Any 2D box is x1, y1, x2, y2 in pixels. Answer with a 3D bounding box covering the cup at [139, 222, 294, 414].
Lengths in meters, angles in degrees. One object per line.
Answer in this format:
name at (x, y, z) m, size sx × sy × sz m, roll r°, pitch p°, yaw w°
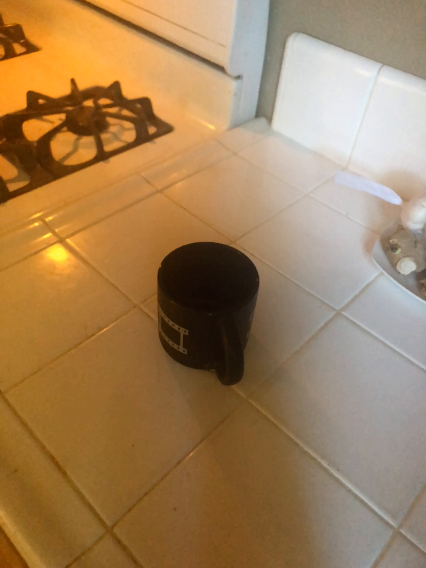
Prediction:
cup at (-0.005, 0.027, 0.430) m, size 0.090 × 0.089 × 0.131 m, roll -13°, pitch 49°, yaw -17°
